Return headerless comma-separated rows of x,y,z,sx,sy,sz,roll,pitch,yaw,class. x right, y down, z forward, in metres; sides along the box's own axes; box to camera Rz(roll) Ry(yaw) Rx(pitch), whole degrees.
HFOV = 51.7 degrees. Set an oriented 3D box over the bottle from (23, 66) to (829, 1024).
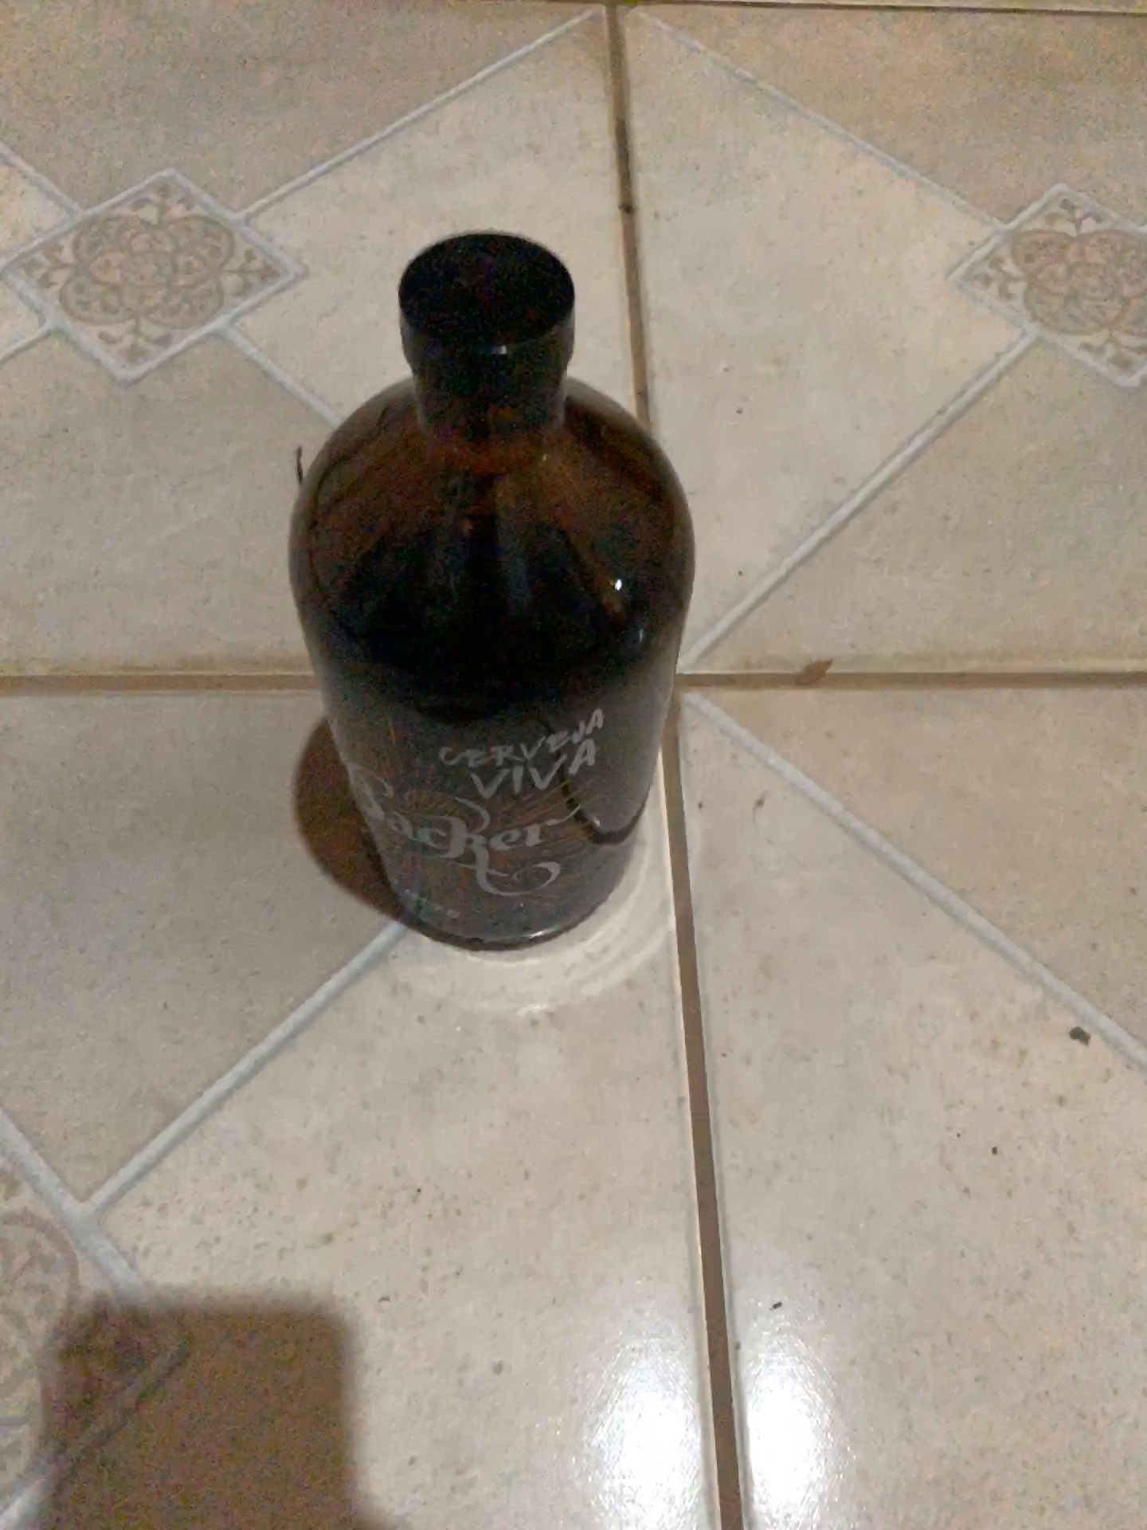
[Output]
-0.024,-0.028,0.290,0.100,0.209,0.090,29,66,13,bottle
